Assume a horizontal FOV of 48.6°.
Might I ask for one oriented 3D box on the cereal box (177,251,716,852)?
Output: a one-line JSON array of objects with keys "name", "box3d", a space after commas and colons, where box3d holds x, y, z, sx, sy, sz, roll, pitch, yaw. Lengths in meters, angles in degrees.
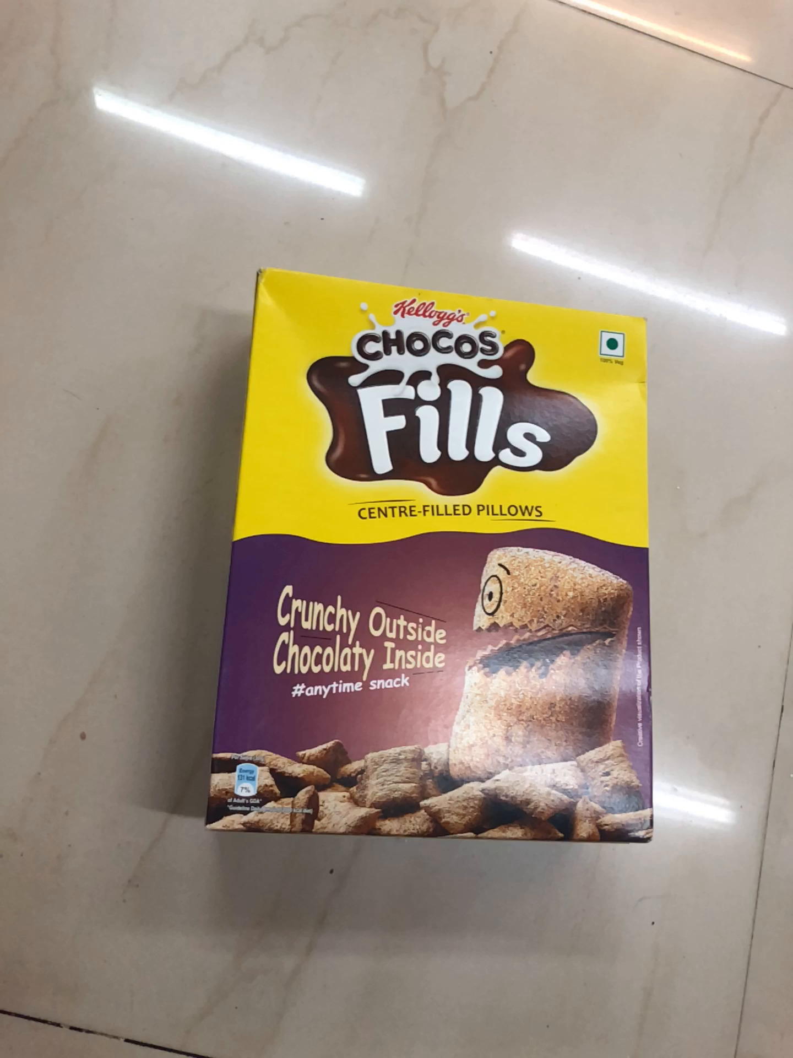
[{"name": "cereal box", "box3d": [0.021, 0.013, 0.381, 0.200, 0.070, 0.230, 5, 74, -10]}]
